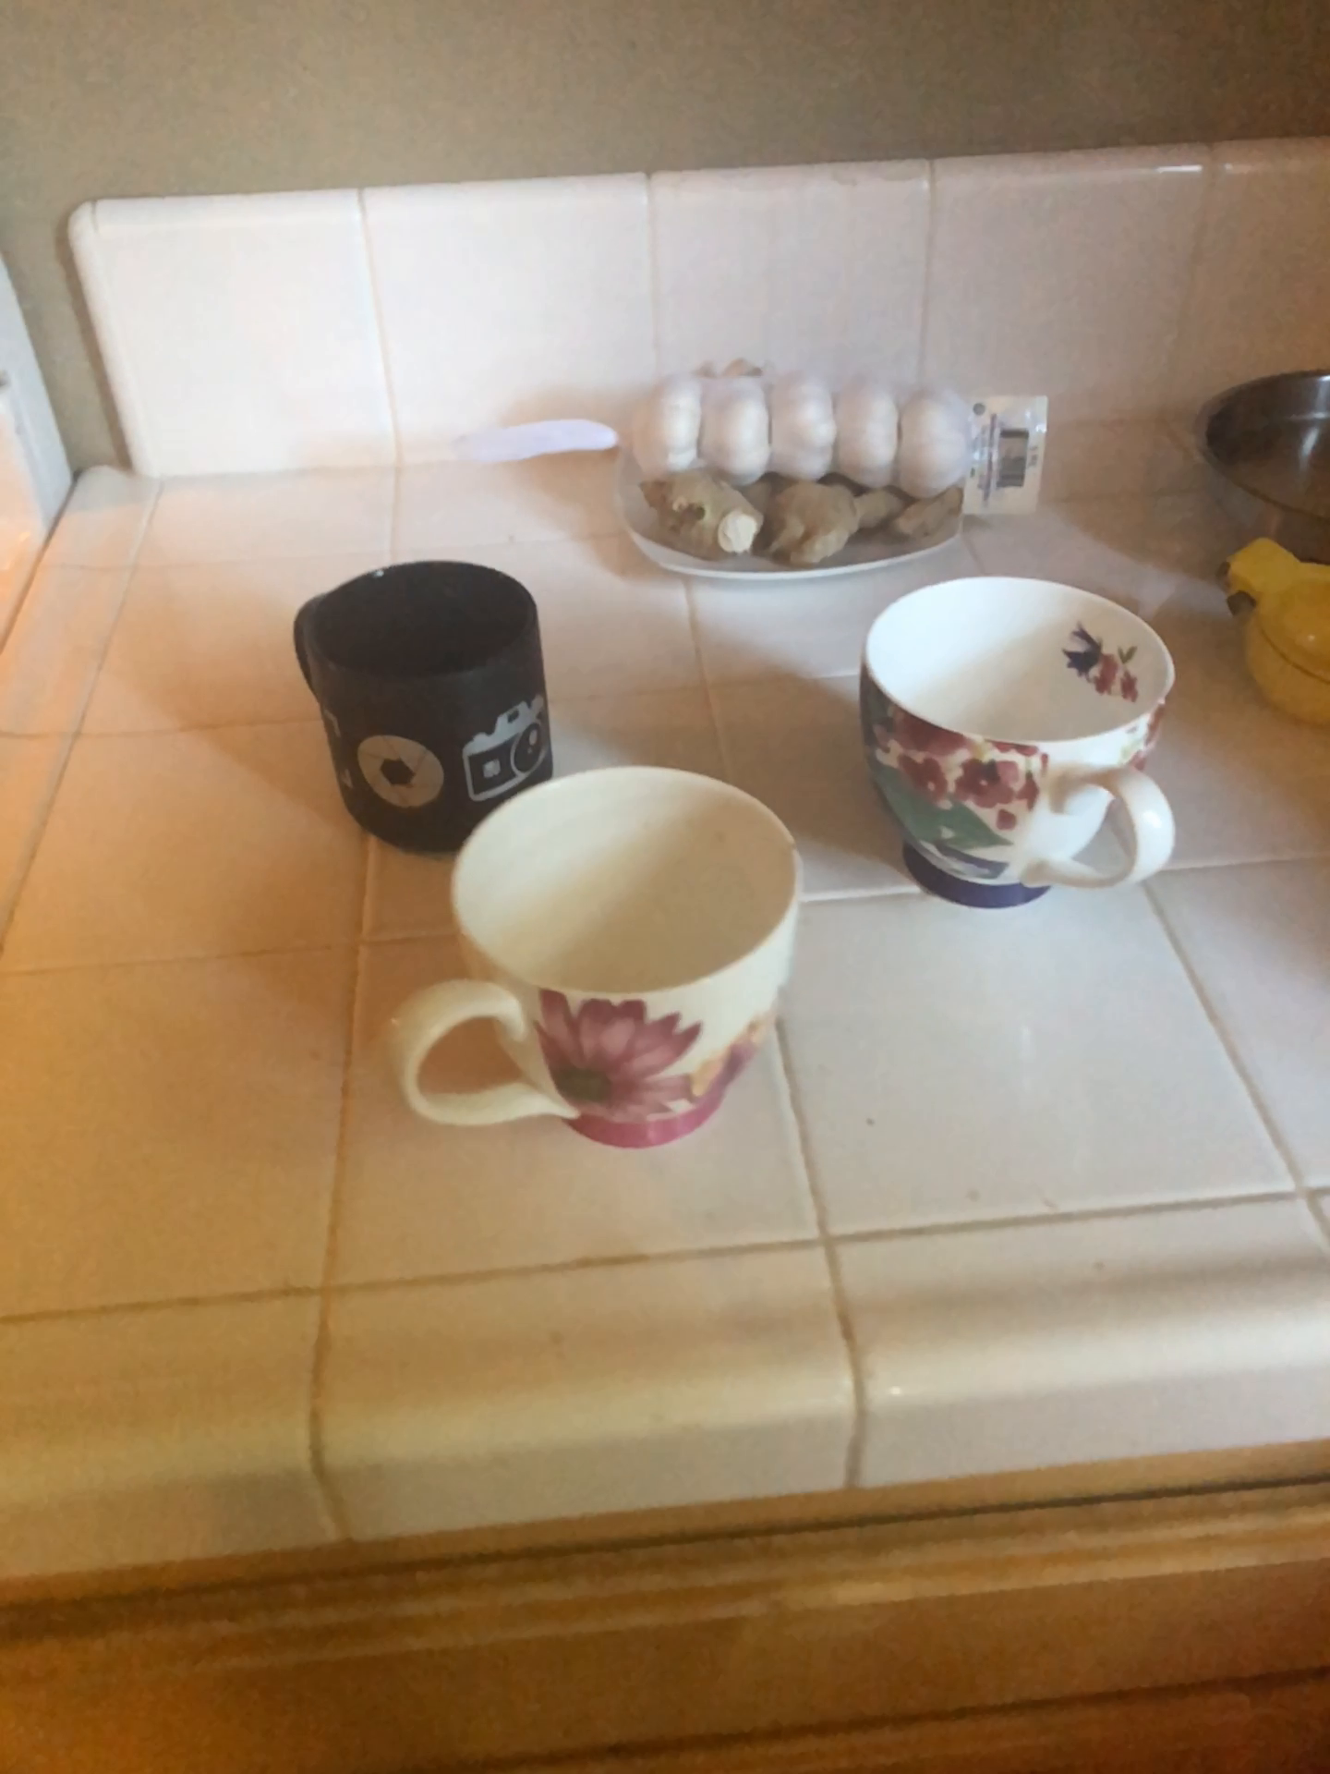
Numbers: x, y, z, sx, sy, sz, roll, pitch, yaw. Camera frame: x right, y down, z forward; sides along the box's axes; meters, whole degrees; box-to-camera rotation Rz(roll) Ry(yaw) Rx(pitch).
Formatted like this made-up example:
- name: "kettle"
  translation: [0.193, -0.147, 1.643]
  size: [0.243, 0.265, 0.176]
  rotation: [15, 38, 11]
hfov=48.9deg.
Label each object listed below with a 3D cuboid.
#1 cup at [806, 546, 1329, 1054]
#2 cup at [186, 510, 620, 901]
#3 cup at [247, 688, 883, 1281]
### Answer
- name: "cup"
  translation: [0.137, -0.038, 0.534]
  size: [0.110, 0.089, 0.151]
  rotation: [-17, 44, -16]
- name: "cup"
  translation: [-0.107, -0.081, 0.602]
  size: [0.111, 0.069, 0.140]
  rotation: [-30, 49, -28]
- name: "cup"
  translation: [-0.029, 0.022, 0.452]
  size: [0.151, 0.079, 0.110]
  rotation: [-24, 47, -23]
